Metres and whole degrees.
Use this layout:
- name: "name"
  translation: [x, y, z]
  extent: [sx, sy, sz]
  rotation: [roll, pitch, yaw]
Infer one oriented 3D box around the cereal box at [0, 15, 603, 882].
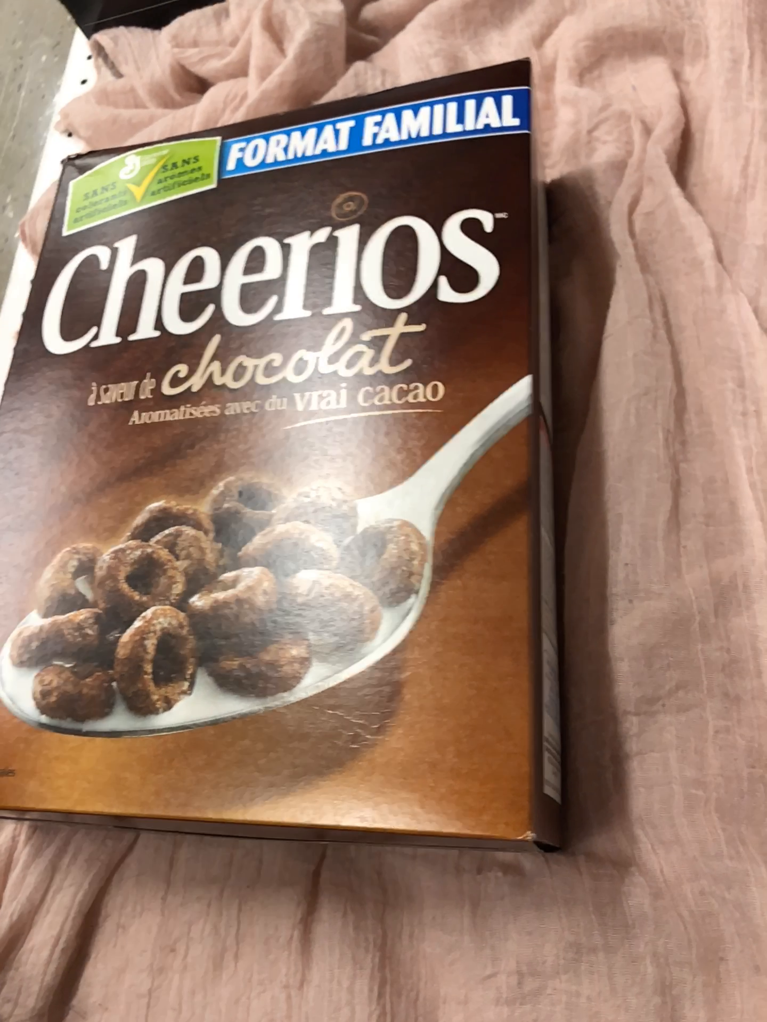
- name: "cereal box"
  translation: [-0.033, -0.032, 0.365]
  extent: [0.230, 0.090, 0.330]
  rotation: [-3, 65, 18]
